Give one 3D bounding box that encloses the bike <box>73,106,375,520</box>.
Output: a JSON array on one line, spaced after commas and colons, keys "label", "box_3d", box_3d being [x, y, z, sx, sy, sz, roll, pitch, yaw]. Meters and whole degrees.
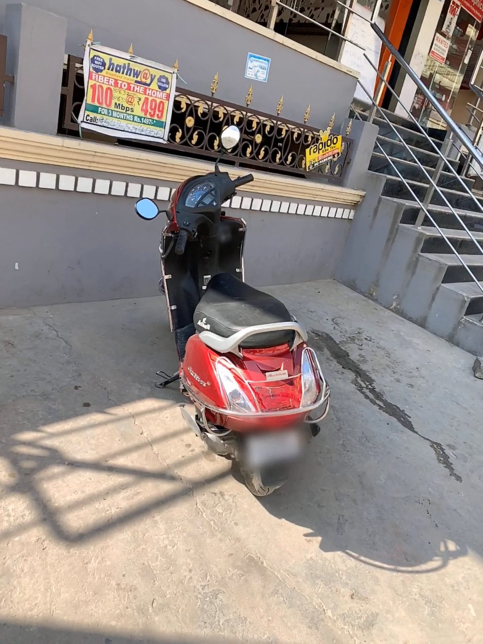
[{"label": "bike", "box_3d": [-0.320, -0.228, 2.378, 0.624, 1.164, 1.759, 3, 26, -27]}]
